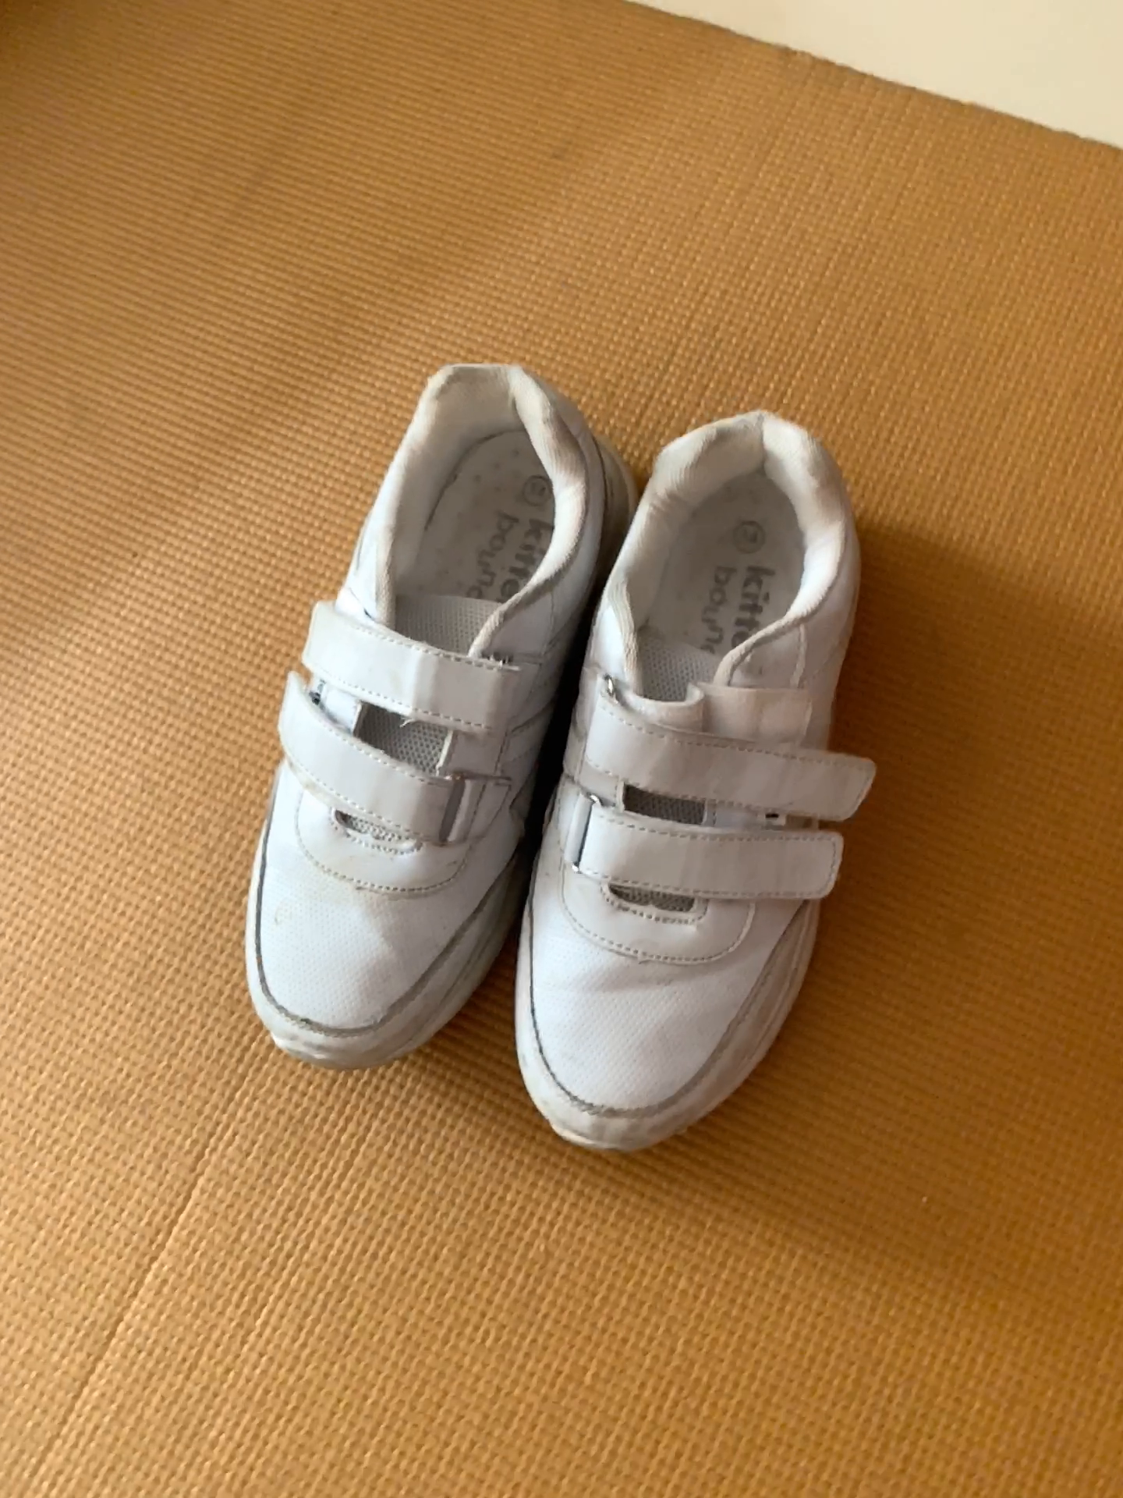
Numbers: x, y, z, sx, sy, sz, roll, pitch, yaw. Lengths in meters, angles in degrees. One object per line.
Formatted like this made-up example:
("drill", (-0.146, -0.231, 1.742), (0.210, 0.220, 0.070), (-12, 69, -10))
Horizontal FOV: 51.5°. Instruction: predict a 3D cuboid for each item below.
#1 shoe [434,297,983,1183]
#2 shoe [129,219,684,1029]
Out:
("shoe", (0.050, -0.007, 0.369), (0.090, 0.070, 0.250), (17, 77, 9))
("shoe", (-0.037, -0.038, 0.396), (0.090, 0.100, 0.240), (17, 77, 9))
